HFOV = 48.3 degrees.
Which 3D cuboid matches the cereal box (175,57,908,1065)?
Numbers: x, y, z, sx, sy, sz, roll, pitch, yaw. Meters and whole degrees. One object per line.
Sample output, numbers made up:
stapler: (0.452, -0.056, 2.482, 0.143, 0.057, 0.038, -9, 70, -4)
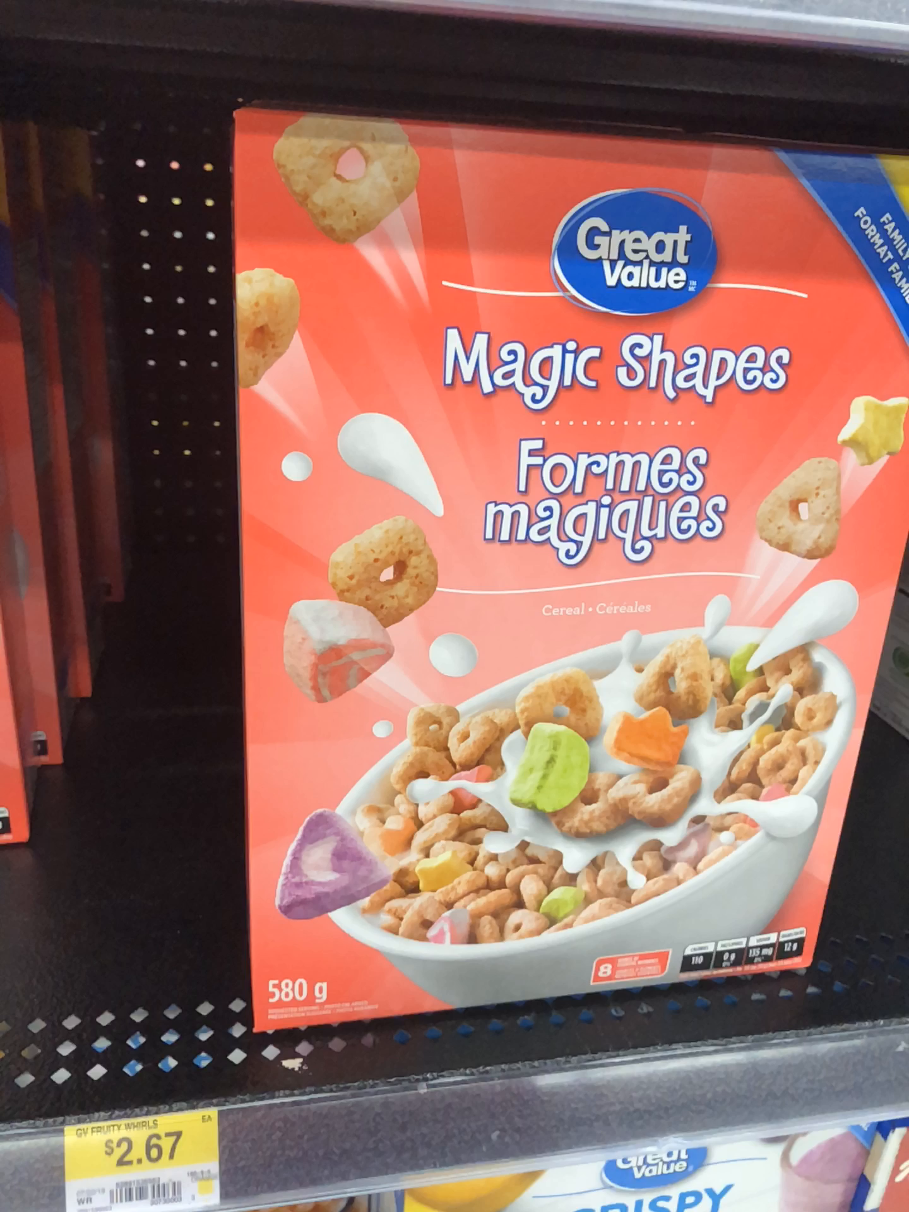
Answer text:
cereal box: (0.032, -0.003, 0.387, 0.250, 0.339, 0.080, -2, 21, -12)
